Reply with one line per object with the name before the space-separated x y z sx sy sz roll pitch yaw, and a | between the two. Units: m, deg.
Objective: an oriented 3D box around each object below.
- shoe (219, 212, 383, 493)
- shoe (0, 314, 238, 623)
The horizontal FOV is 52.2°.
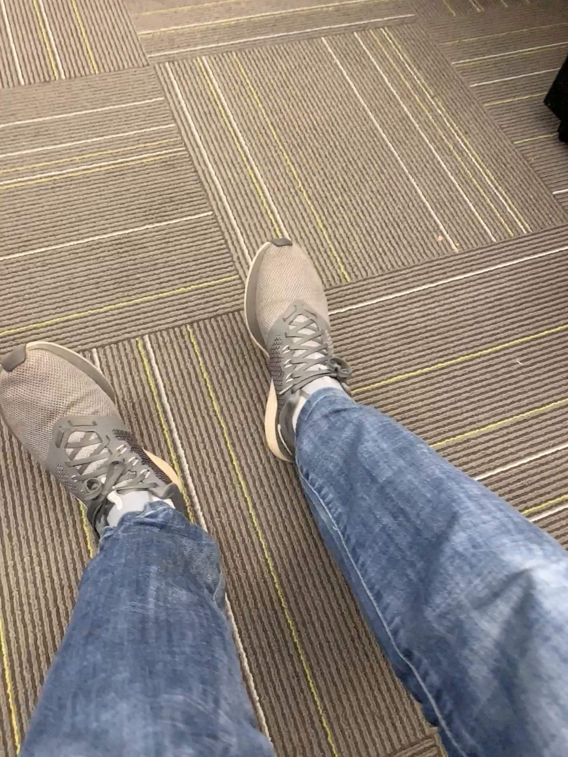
shoe | 0.019 -0.034 0.700 0.119 0.122 0.294 -12 101 -17
shoe | -0.184 0.099 0.602 0.119 0.293 0.122 -36 36 -13
